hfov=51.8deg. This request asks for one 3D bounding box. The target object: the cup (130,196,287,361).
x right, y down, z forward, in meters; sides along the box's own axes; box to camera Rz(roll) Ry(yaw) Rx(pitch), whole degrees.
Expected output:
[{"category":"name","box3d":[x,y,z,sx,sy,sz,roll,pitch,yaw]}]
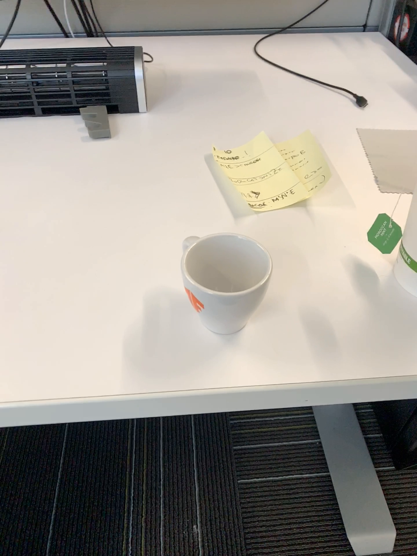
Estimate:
[{"category":"cup","box3d":[-0.003,-0.004,0.336,0.070,0.060,0.100,-27,51,-24]}]
